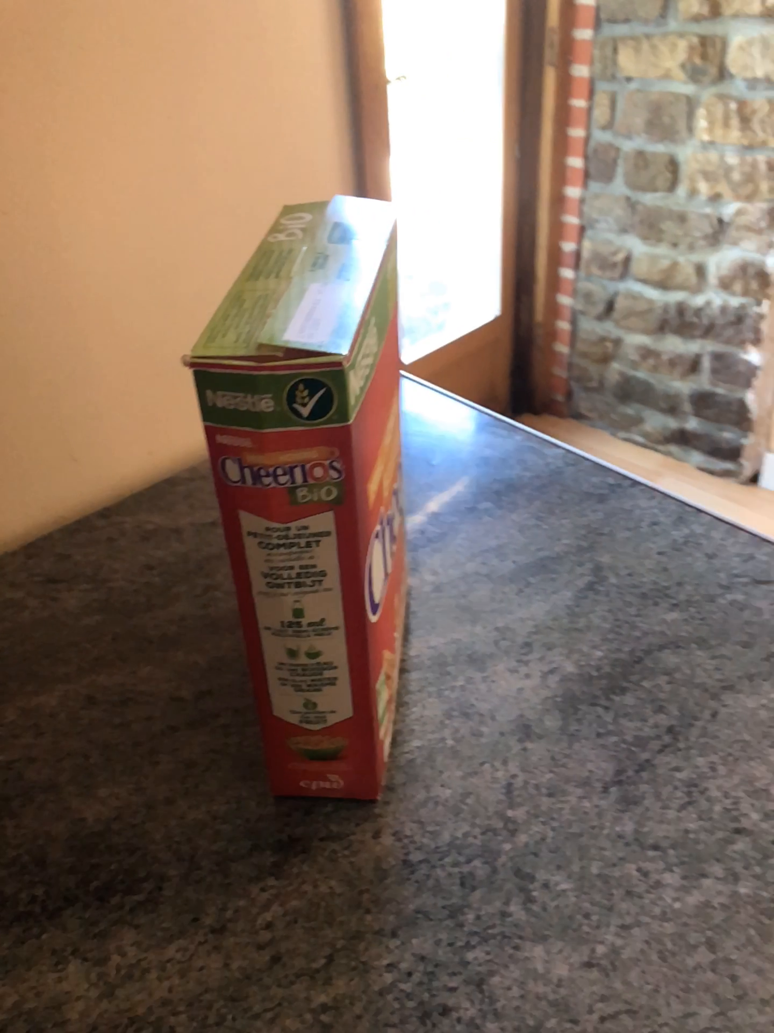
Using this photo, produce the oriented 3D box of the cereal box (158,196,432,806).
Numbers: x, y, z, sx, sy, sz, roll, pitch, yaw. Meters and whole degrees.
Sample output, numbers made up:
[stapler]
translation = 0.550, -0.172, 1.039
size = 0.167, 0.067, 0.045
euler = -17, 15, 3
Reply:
[cereal box]
translation = -0.026, -0.011, 0.463
size = 0.080, 0.258, 0.201
euler = 1, 36, 7
